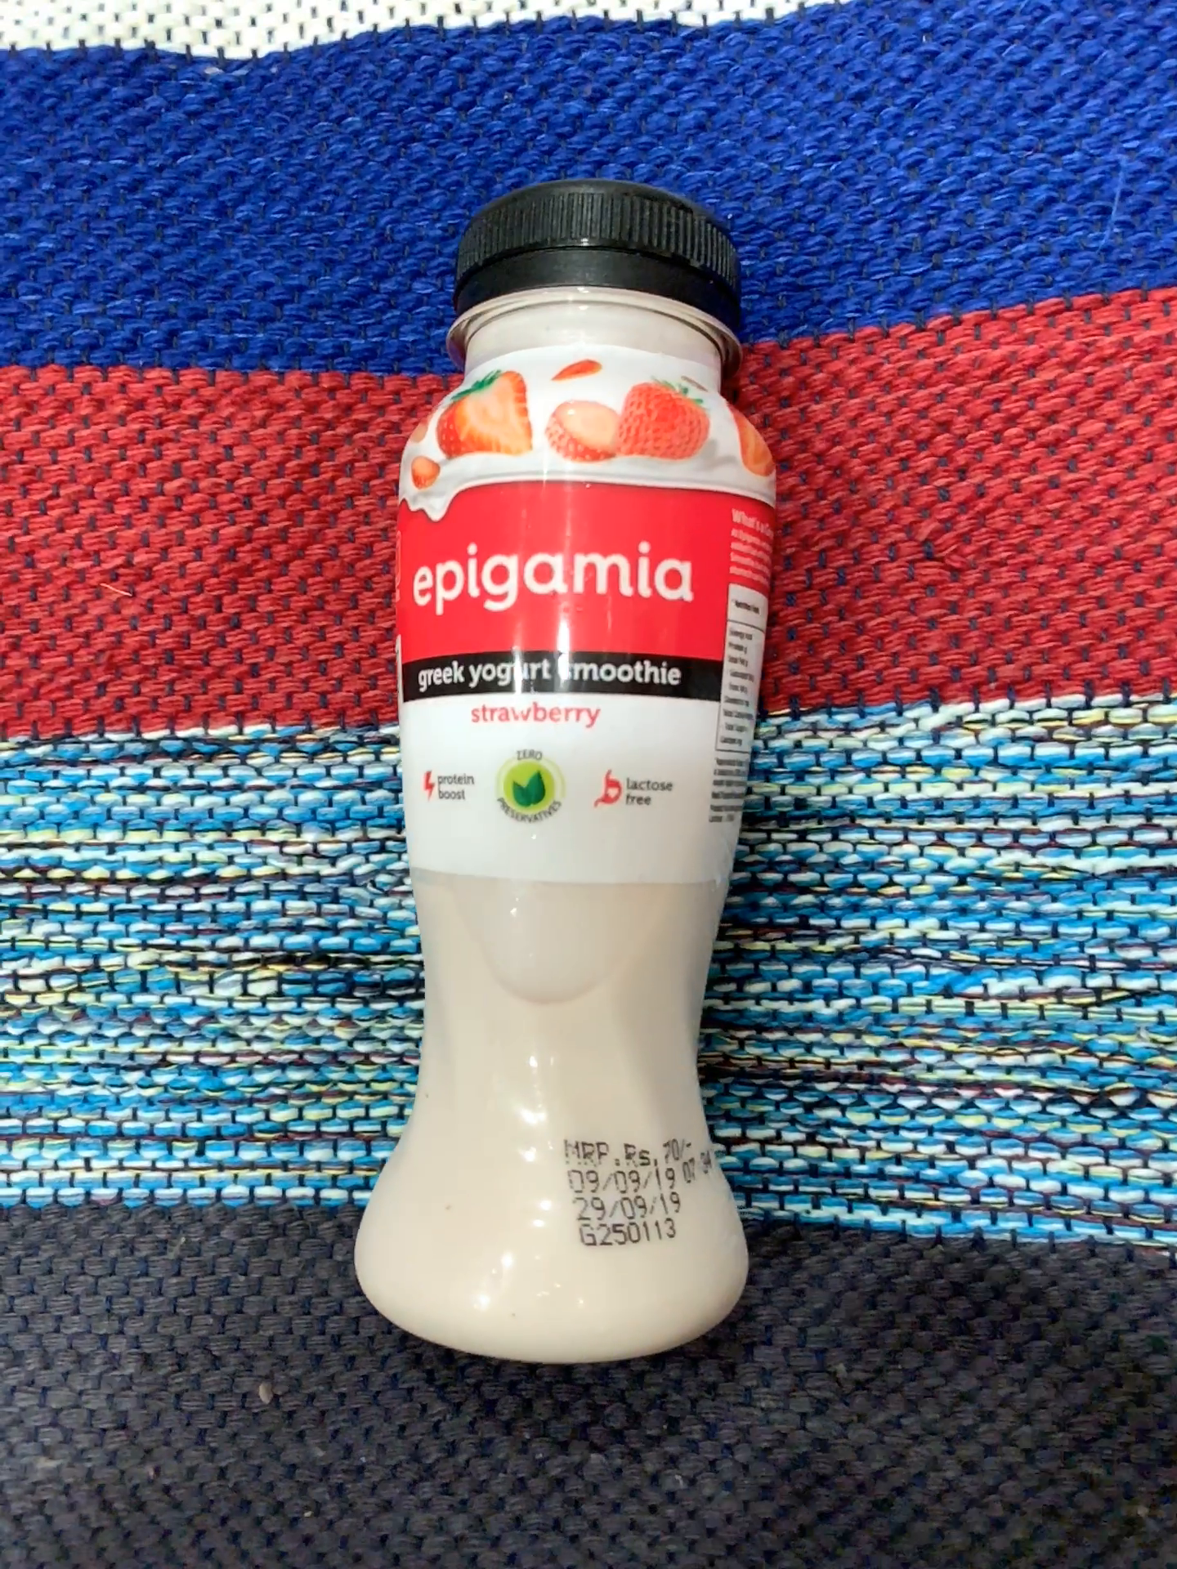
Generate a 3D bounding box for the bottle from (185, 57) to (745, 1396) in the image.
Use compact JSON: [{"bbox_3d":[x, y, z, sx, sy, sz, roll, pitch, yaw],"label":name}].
[{"bbox_3d":[-0.011,-0.010,0.172,0.060,0.050,0.160,2,83,6],"label":"bottle"}]
